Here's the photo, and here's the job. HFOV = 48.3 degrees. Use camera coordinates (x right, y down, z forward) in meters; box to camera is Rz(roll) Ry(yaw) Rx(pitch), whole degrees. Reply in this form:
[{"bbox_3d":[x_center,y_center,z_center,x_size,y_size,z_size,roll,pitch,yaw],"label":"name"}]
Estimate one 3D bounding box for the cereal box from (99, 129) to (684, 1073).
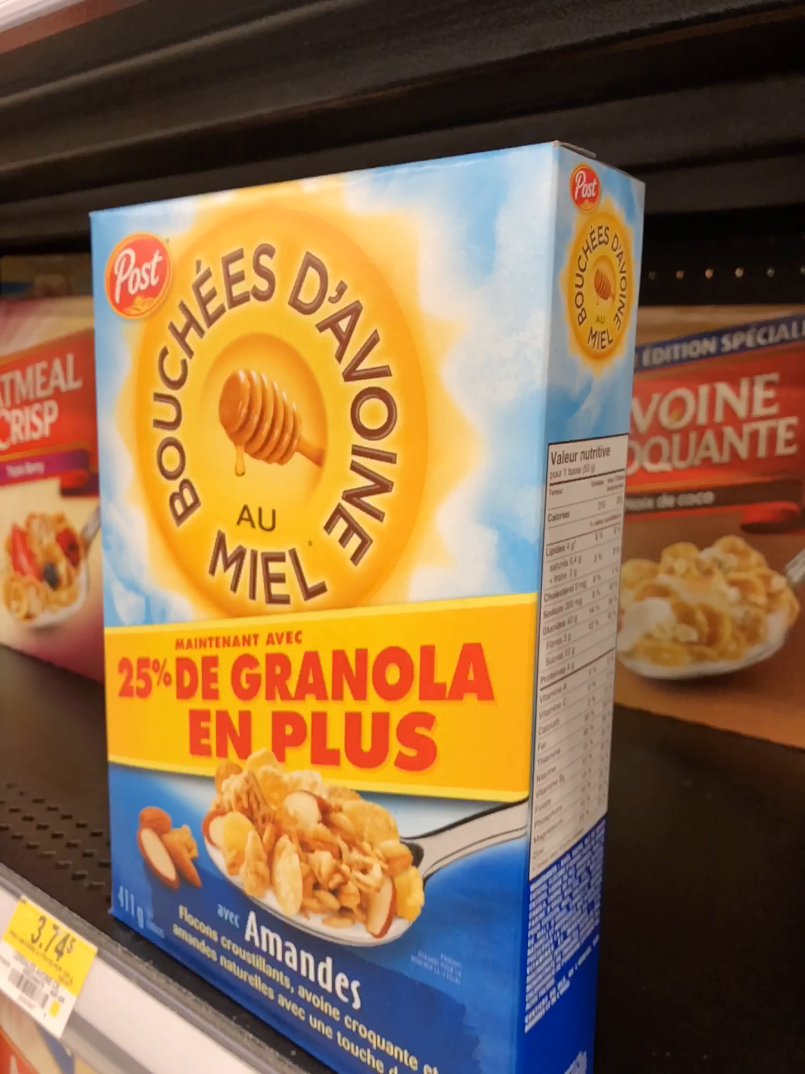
[{"bbox_3d":[-0.021,0.027,0.301,0.190,0.269,0.060,10,12,40],"label":"cereal box"}]
